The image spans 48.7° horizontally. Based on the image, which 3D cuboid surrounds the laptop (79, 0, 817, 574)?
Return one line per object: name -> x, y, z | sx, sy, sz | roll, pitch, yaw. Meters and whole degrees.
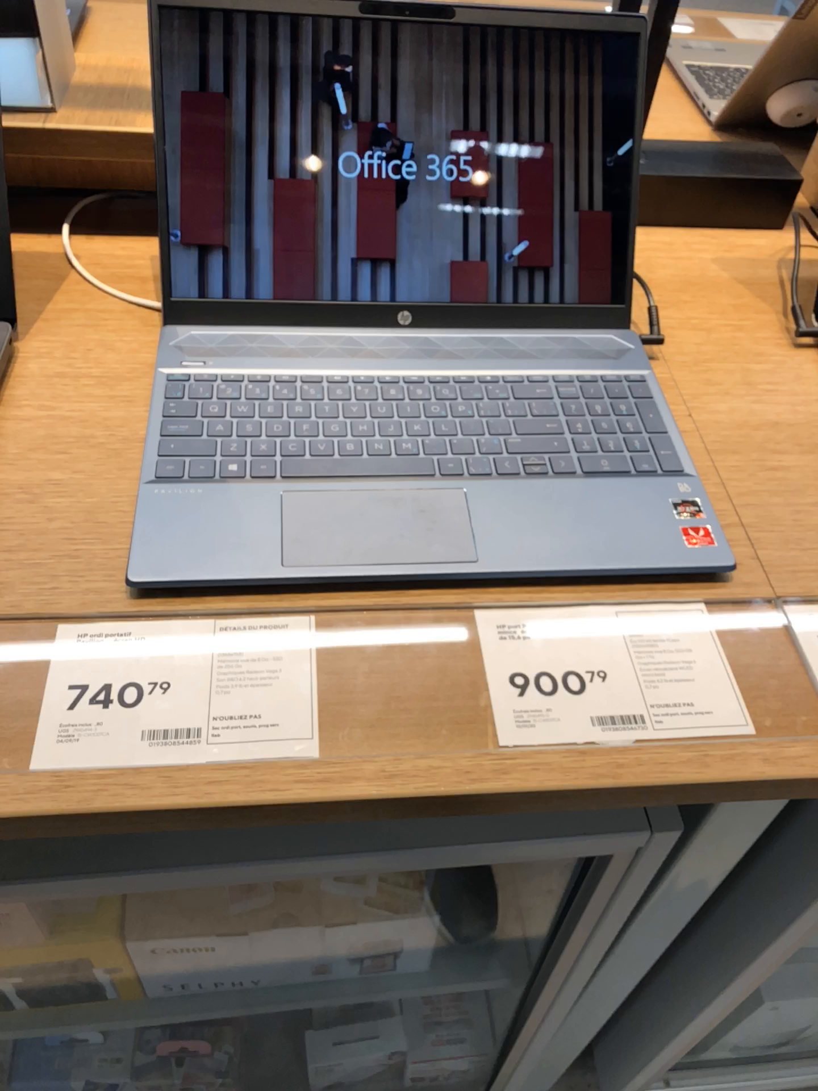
laptop -> 0.008, -0.180, 0.572 | 0.338, 0.184, 0.357 | -1, 47, -8
